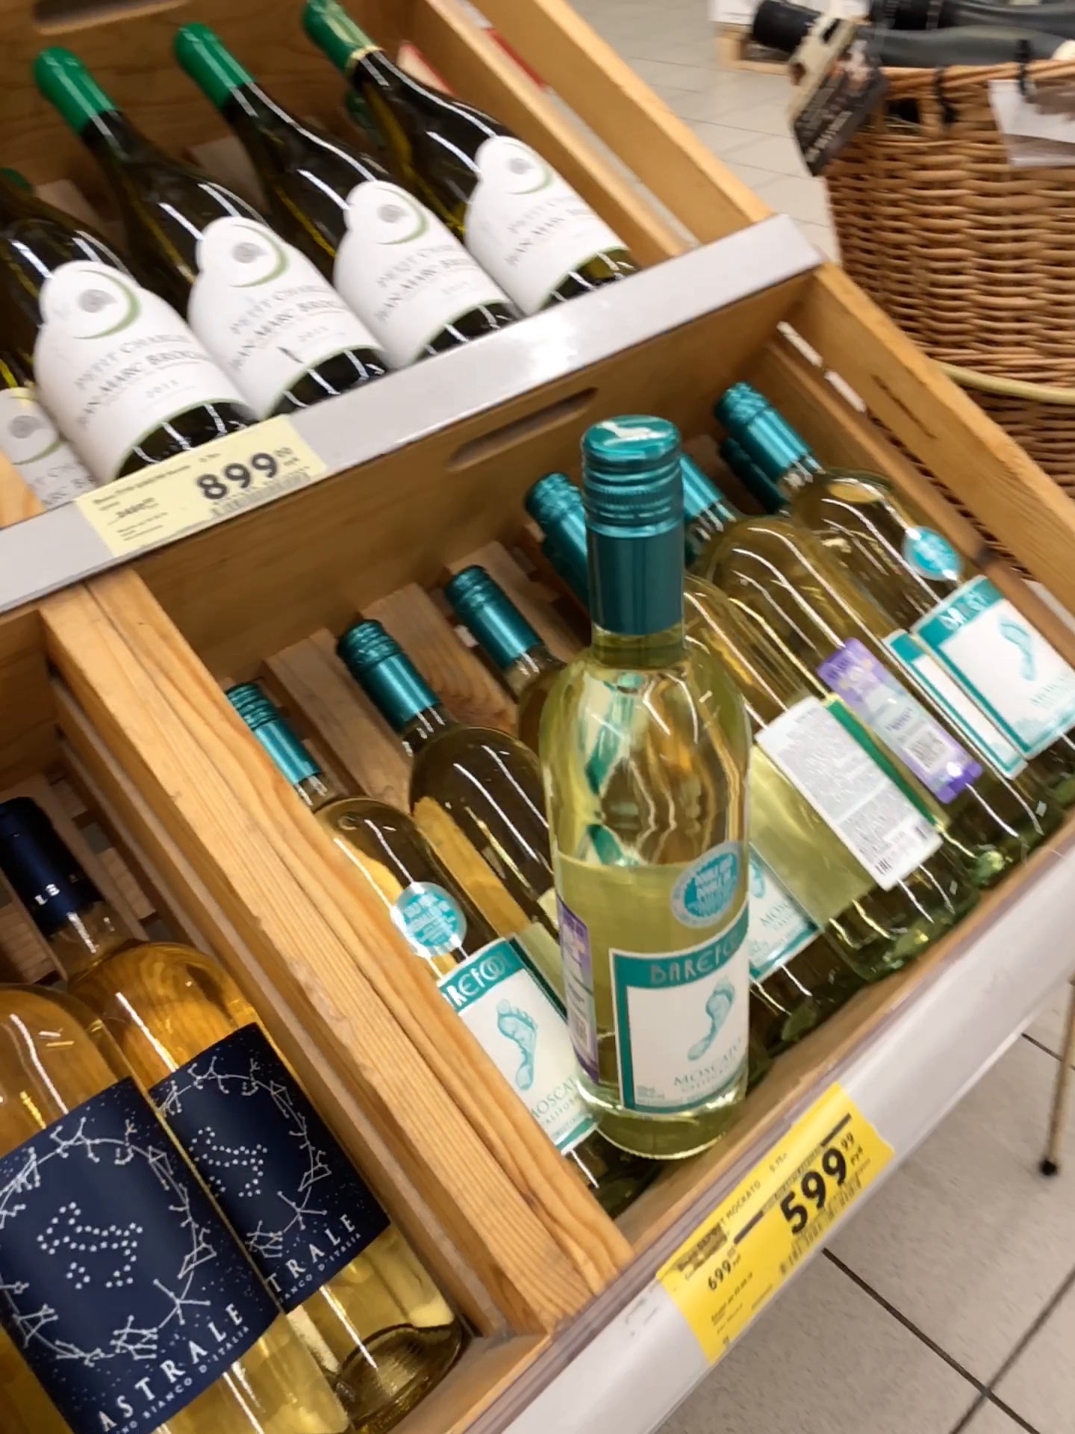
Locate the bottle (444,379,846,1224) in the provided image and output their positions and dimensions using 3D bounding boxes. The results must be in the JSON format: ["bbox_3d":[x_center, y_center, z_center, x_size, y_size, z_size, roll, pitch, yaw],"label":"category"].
[{"bbox_3d":[0.043,0.043,0.412,0.080,0.288,0.080,-5,35,3],"label":"bottle"}]
